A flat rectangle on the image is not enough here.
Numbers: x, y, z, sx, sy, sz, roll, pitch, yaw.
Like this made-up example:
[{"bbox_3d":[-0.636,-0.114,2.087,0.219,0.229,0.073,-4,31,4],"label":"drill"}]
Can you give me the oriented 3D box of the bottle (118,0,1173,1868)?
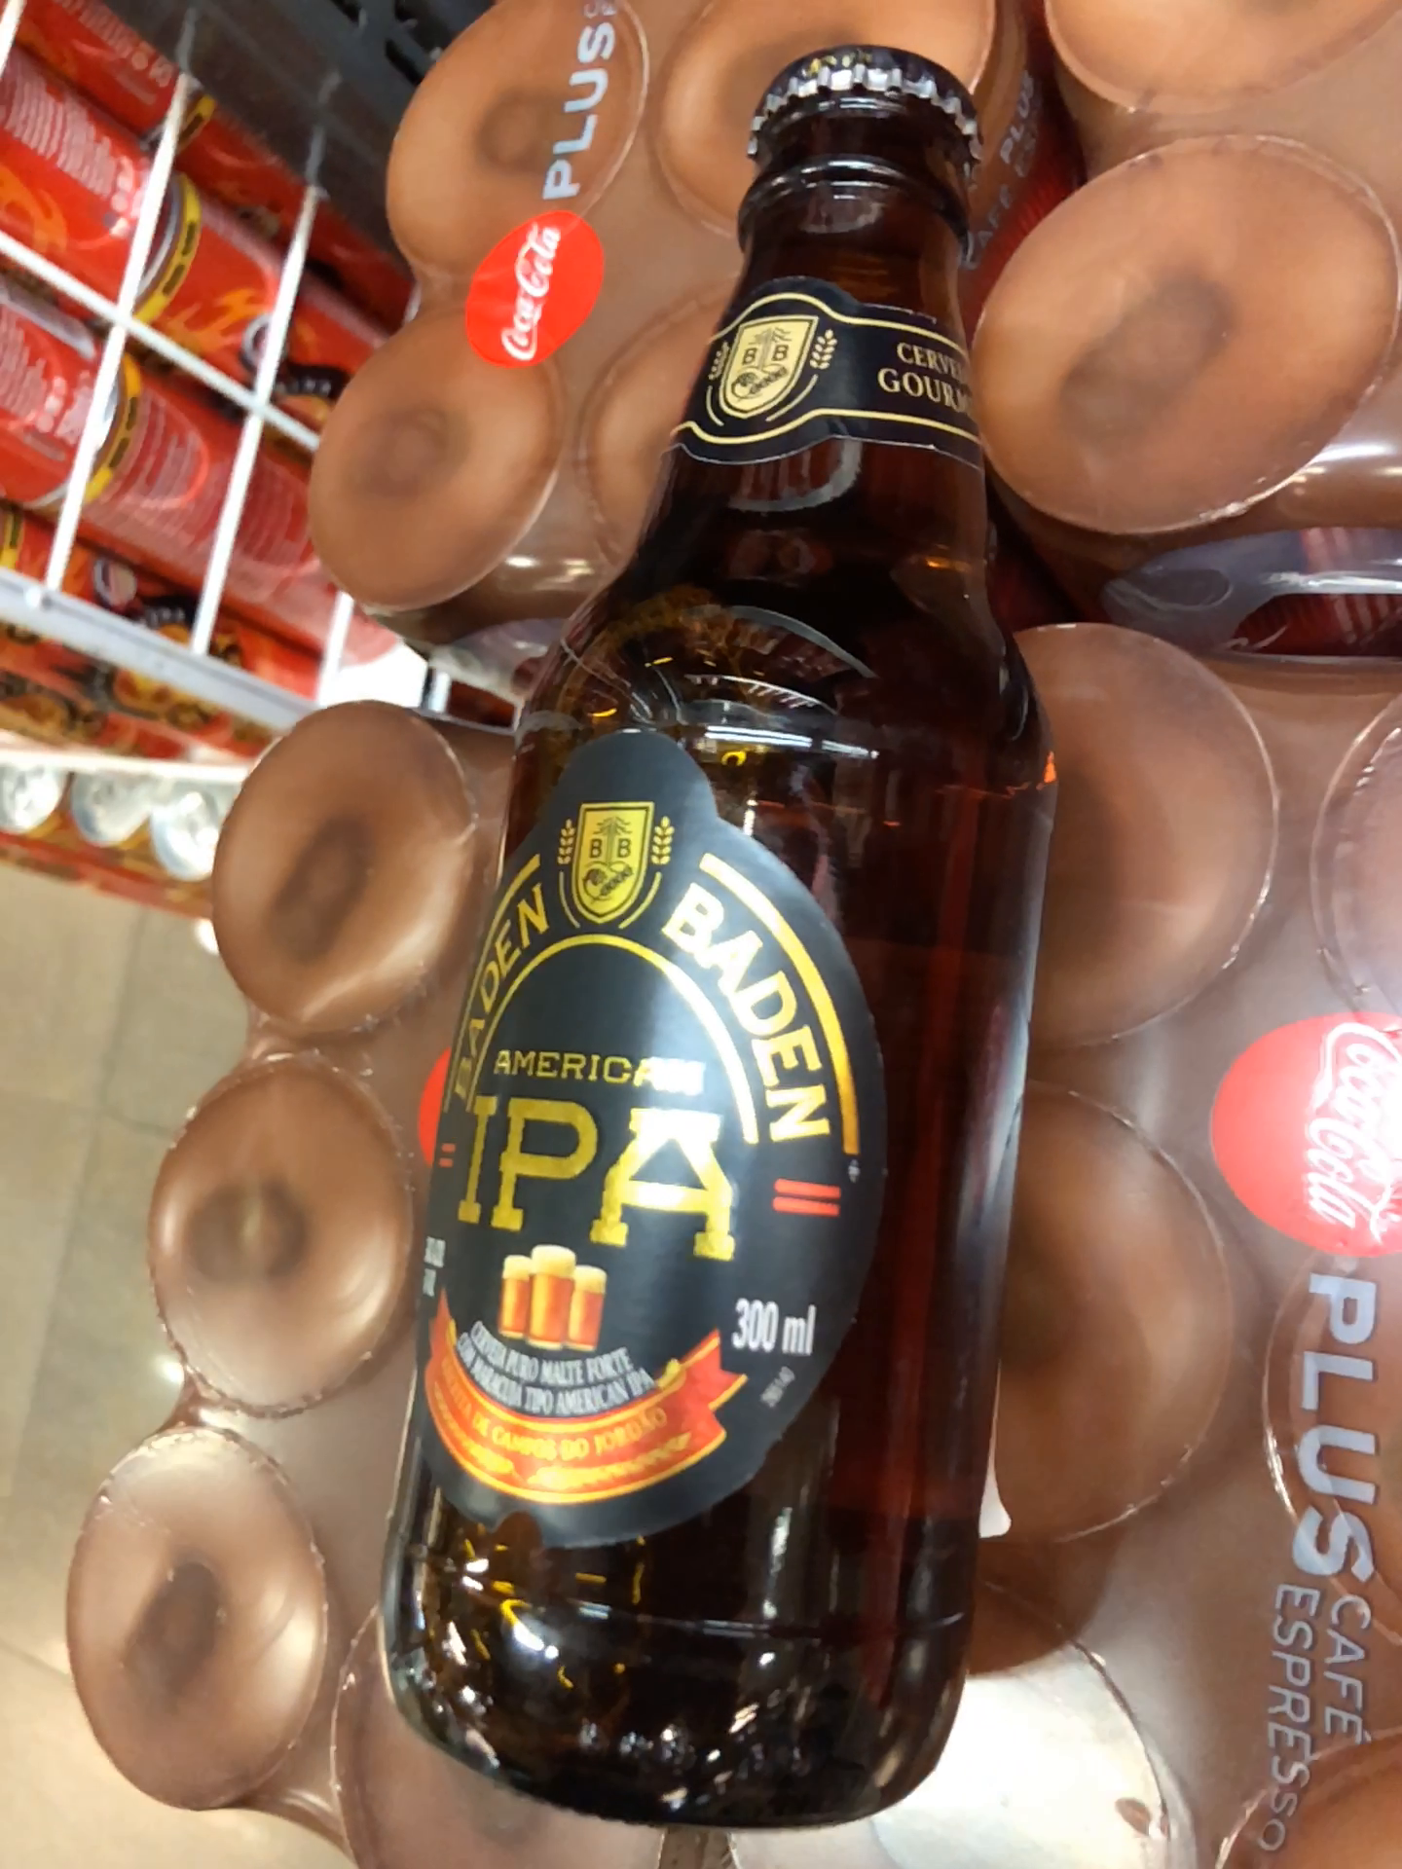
[{"bbox_3d":[0.001,-0.018,0.170,0.070,0.050,0.210,2,80,30],"label":"bottle"}]
